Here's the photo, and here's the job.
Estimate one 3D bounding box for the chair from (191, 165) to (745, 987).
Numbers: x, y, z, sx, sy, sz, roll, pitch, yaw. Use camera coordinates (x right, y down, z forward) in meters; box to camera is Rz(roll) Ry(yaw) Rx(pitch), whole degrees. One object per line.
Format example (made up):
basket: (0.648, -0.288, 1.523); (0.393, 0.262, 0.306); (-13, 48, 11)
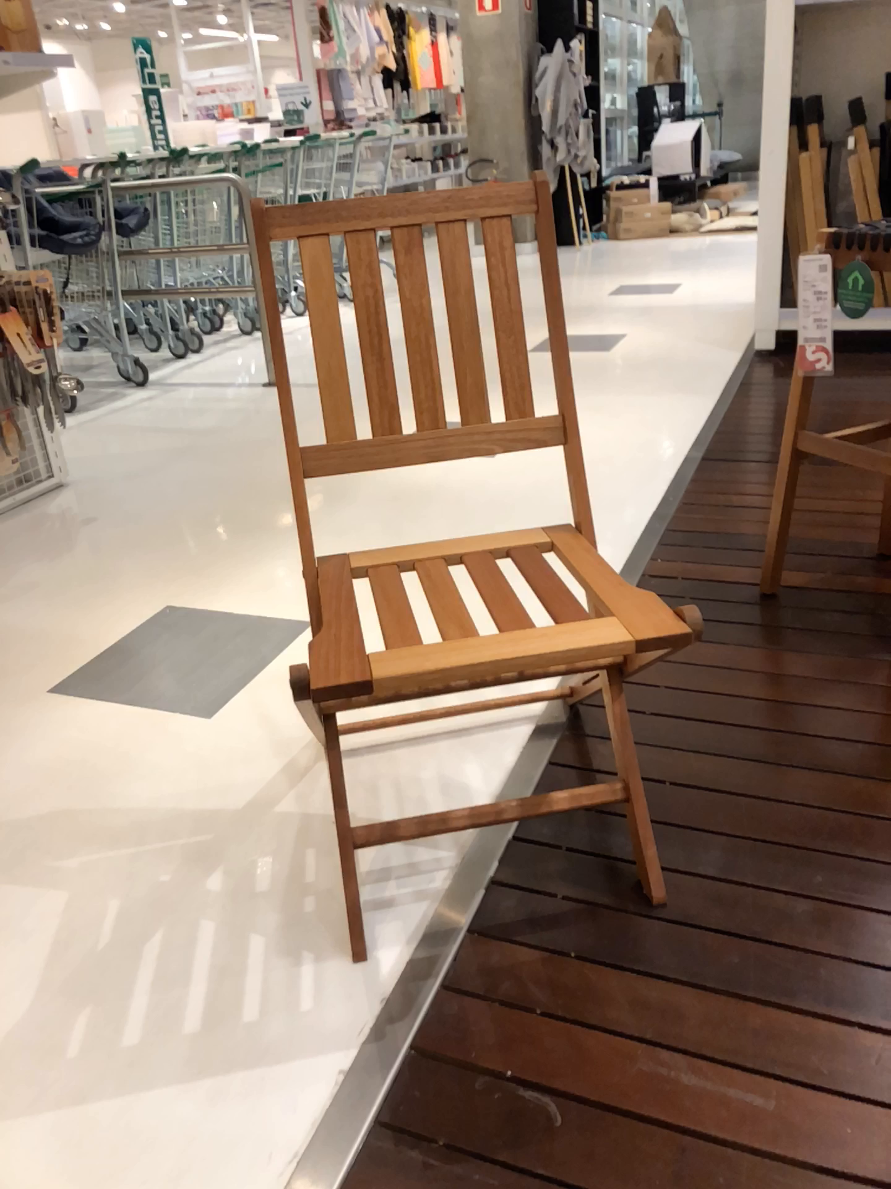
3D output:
chair: (0.013, -0.079, 1.307); (0.500, 0.864, 0.604); (-9, 24, -8)
